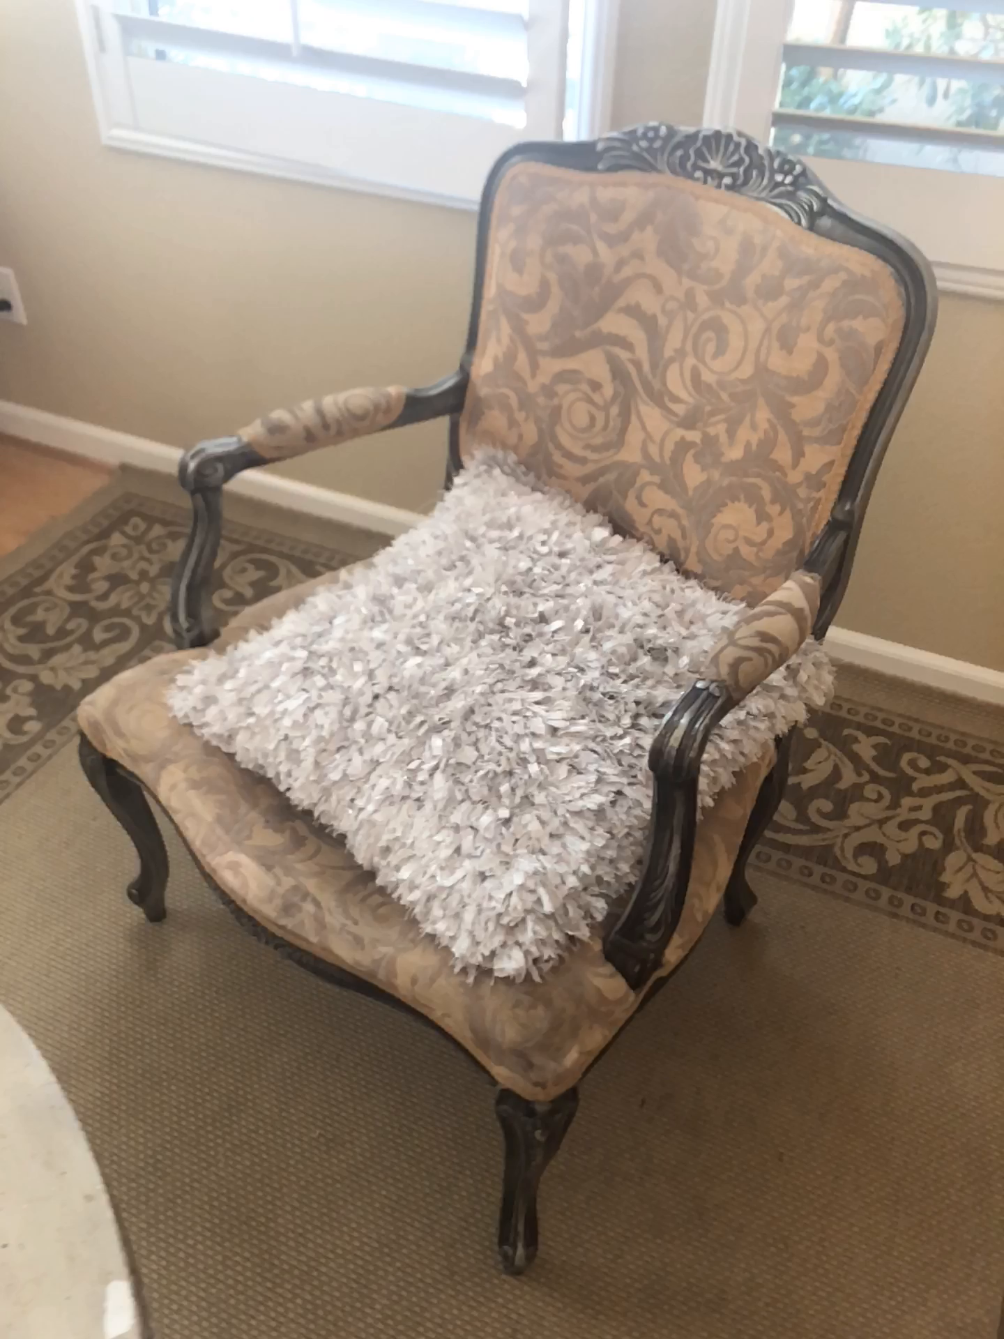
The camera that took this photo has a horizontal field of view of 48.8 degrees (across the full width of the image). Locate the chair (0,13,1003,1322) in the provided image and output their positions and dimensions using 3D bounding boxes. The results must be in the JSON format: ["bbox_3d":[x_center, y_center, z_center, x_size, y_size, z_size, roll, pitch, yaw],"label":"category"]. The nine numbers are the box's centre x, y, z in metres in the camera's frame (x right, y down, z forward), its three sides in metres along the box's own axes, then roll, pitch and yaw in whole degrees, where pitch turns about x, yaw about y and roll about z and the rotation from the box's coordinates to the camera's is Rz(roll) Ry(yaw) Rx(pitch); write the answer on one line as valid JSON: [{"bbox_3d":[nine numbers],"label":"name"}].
[{"bbox_3d":[-0.057,-0.045,1.175,0.761,0.972,0.654,30,48,30],"label":"chair"}]
